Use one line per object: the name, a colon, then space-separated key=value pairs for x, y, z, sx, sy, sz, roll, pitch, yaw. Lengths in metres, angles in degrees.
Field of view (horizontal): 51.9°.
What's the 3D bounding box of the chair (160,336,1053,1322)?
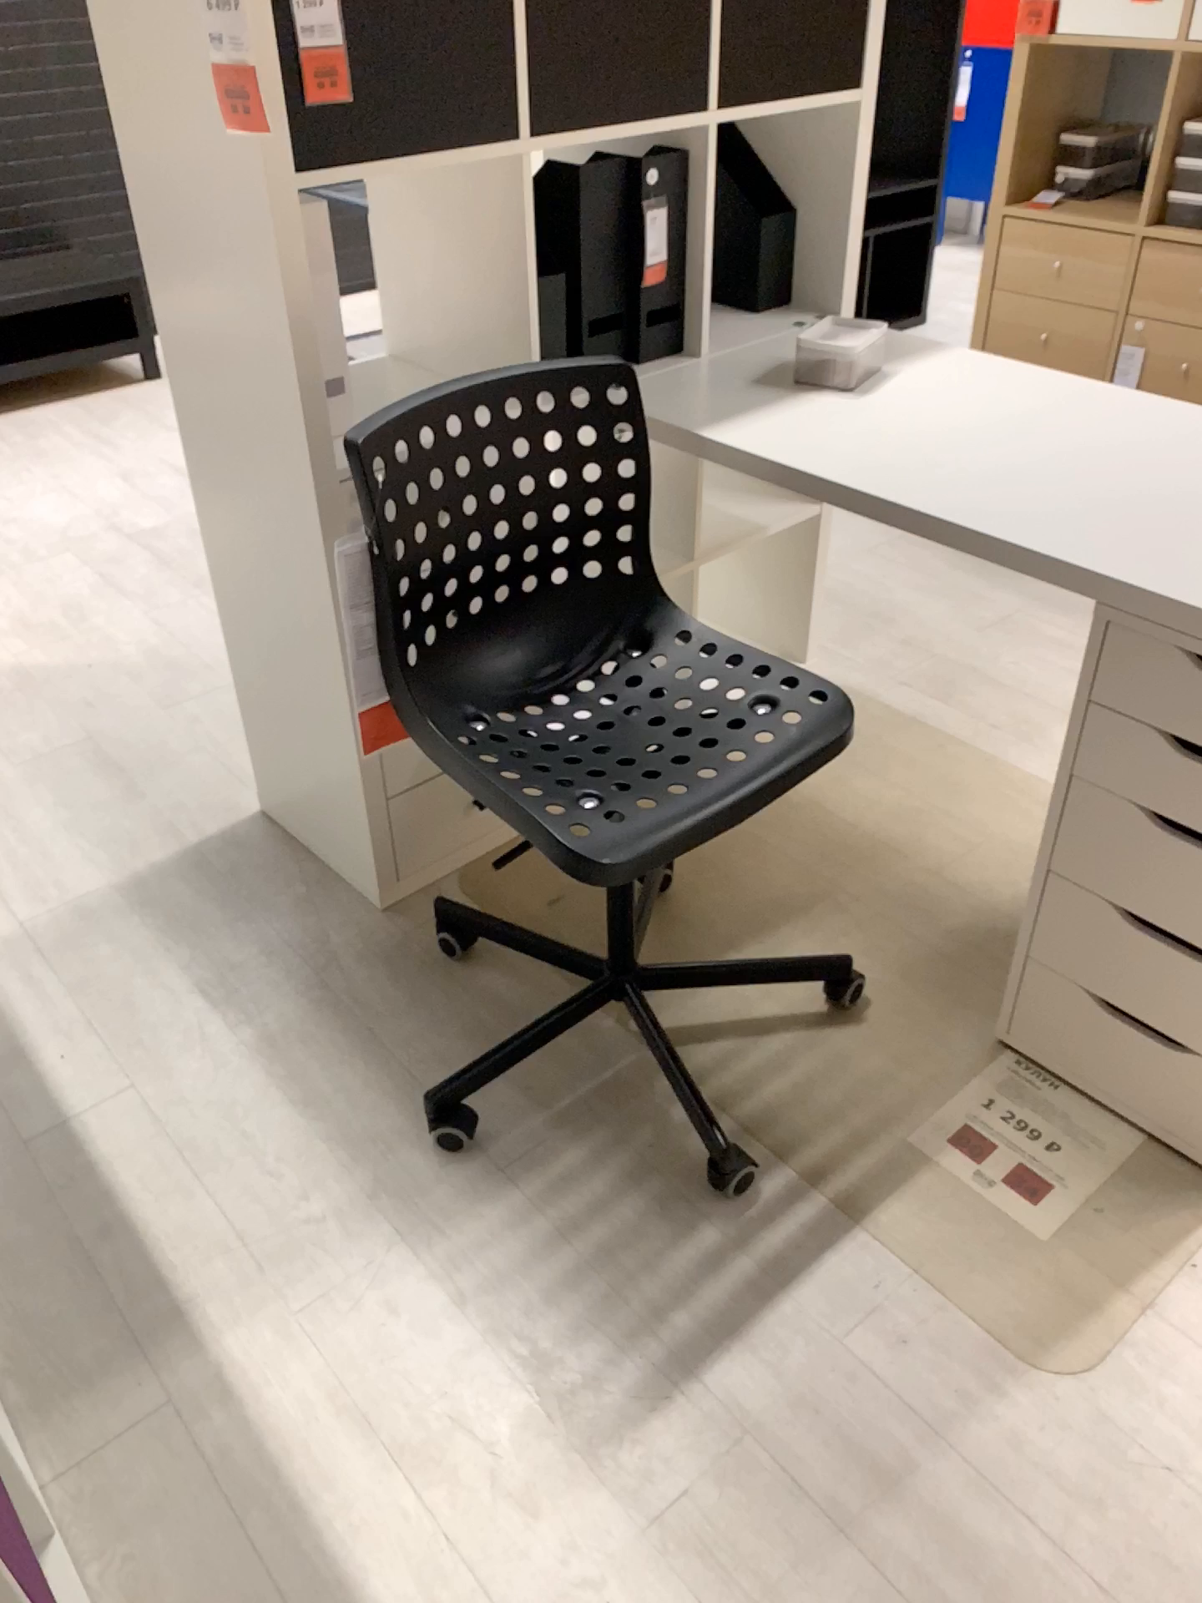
chair: x=-0.007 y=-0.026 z=1.640 sx=0.682 sy=0.865 sz=0.752 roll=-27 pitch=43 yaw=-30
